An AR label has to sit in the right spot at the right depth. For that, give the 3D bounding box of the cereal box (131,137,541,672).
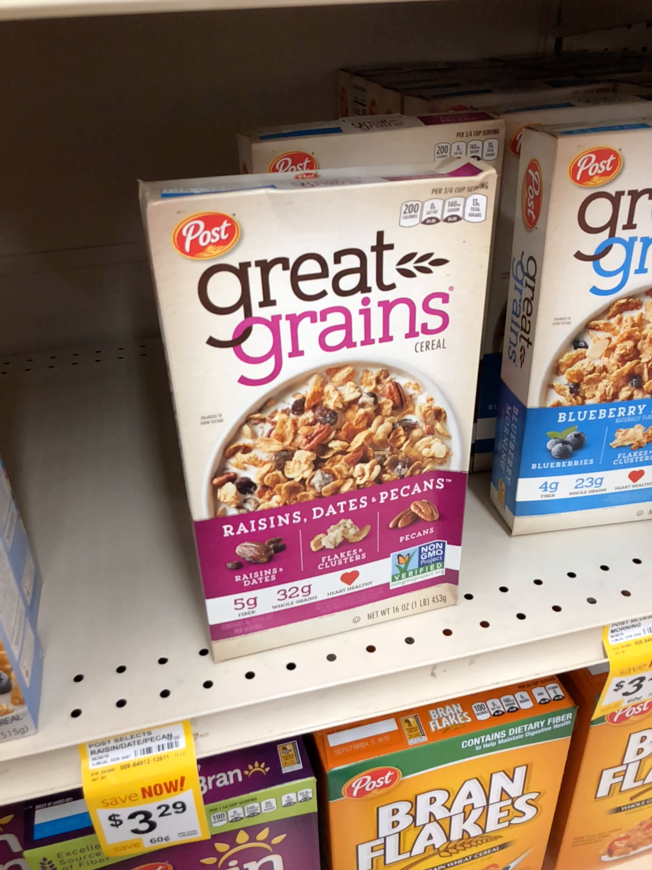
[{"bbox_3d":[0.006,-0.005,0.382,0.170,0.269,0.050,-10,34,-14],"label":"cereal box"}]
